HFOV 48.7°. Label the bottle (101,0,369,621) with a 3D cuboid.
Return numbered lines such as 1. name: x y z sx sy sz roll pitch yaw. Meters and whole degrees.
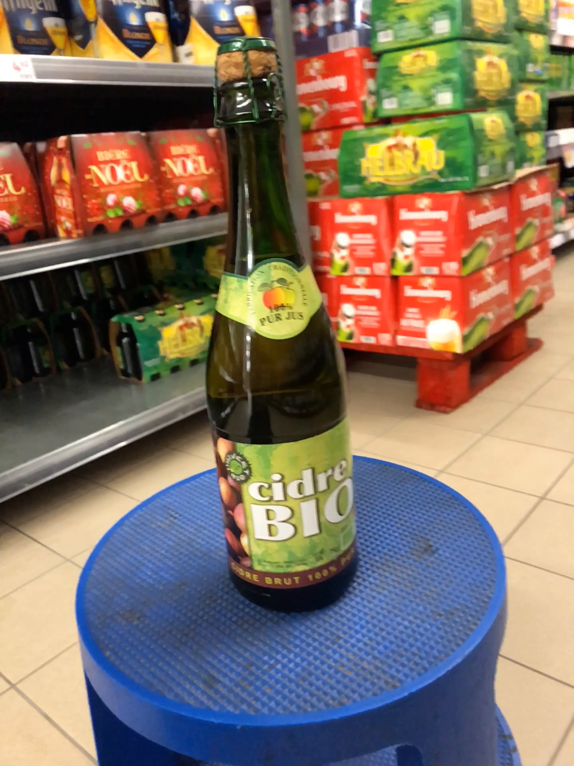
1. bottle: -0.015 -0.026 0.340 0.090 0.289 0.090 -5 18 2
